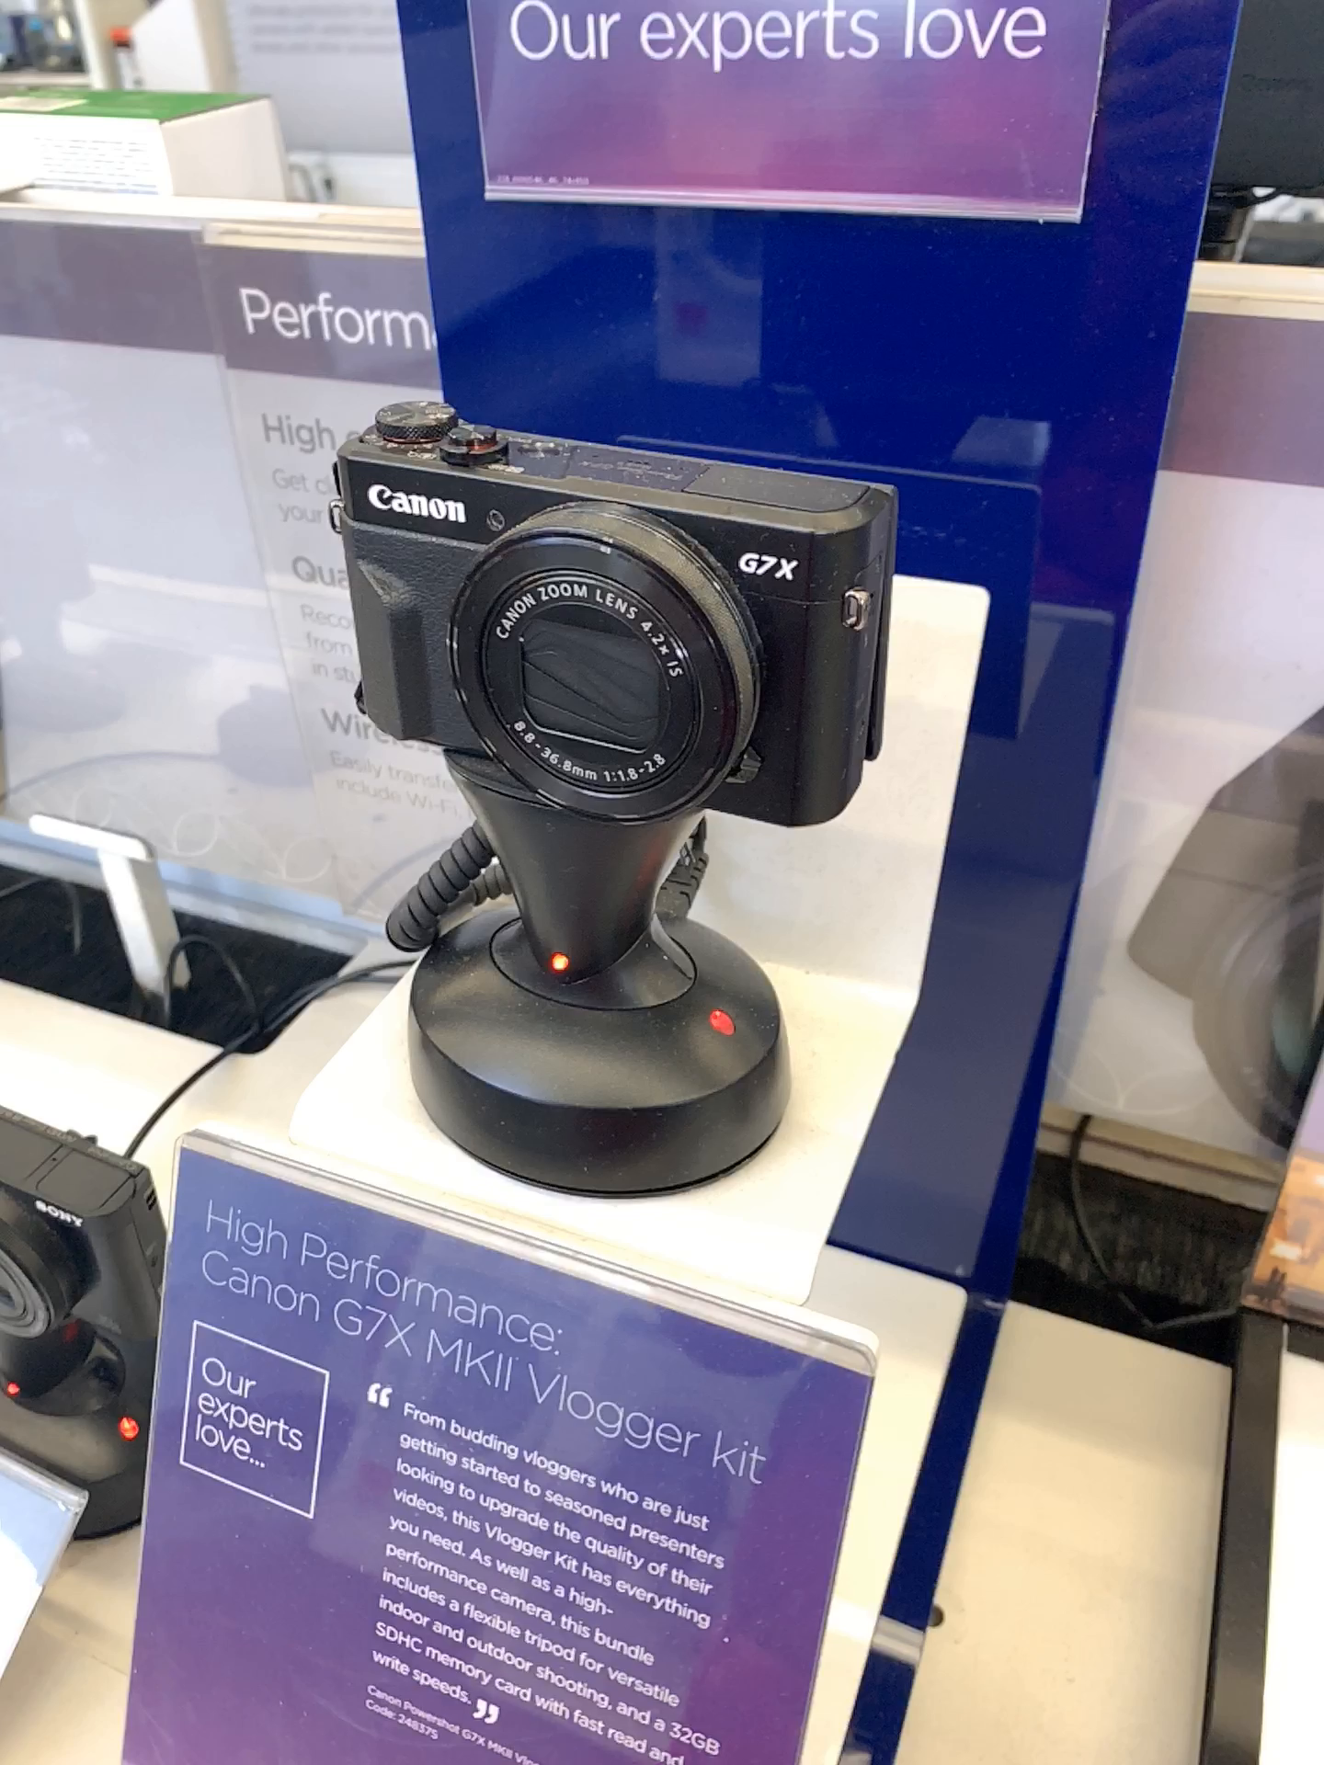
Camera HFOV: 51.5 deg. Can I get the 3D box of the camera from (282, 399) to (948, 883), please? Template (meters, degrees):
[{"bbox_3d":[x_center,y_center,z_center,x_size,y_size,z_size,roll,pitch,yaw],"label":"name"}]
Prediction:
[{"bbox_3d":[-0.009,-0.047,0.249,0.108,0.059,0.038,15,36,22],"label":"camera"}]
